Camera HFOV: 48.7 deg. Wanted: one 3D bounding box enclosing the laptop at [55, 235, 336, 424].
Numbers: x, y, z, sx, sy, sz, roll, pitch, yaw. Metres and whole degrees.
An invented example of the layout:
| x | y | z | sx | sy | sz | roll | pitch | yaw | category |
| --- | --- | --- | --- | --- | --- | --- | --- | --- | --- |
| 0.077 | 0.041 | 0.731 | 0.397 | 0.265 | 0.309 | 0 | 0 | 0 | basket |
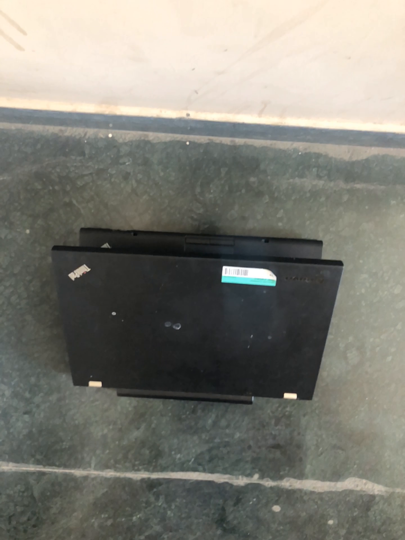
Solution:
| x | y | z | sx | sy | sz | roll | pitch | yaw | category |
| --- | --- | --- | --- | --- | --- | --- | --- | --- | --- |
| -0.009 | 0.074 | 0.619 | 0.349 | 0.095 | 0.227 | 3 | 94 | 0 | laptop |
